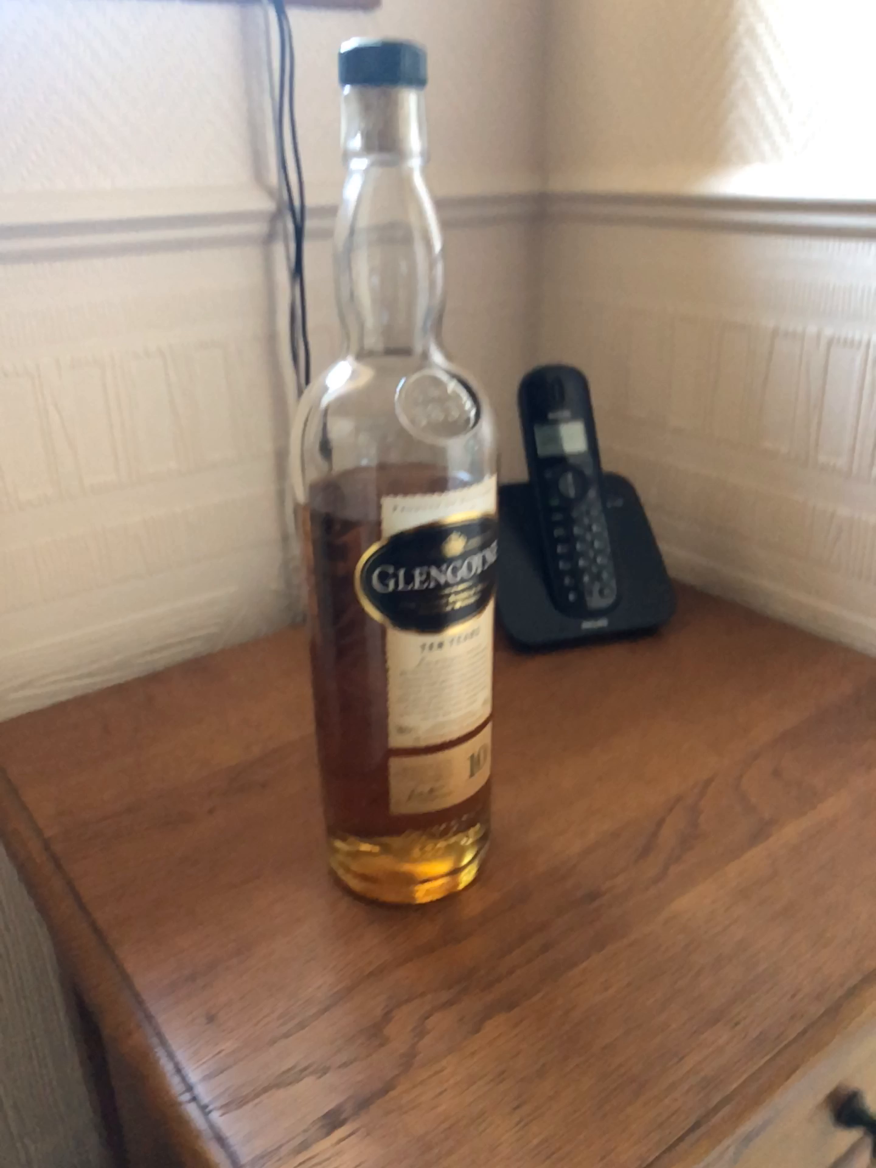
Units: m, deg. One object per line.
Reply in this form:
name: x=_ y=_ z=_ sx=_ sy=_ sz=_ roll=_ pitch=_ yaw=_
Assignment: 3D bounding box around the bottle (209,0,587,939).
bottle: x=-0.010 y=-0.032 z=0.368 sx=0.090 sy=0.318 sz=0.080 roll=-16 pitch=27 yaw=-30
